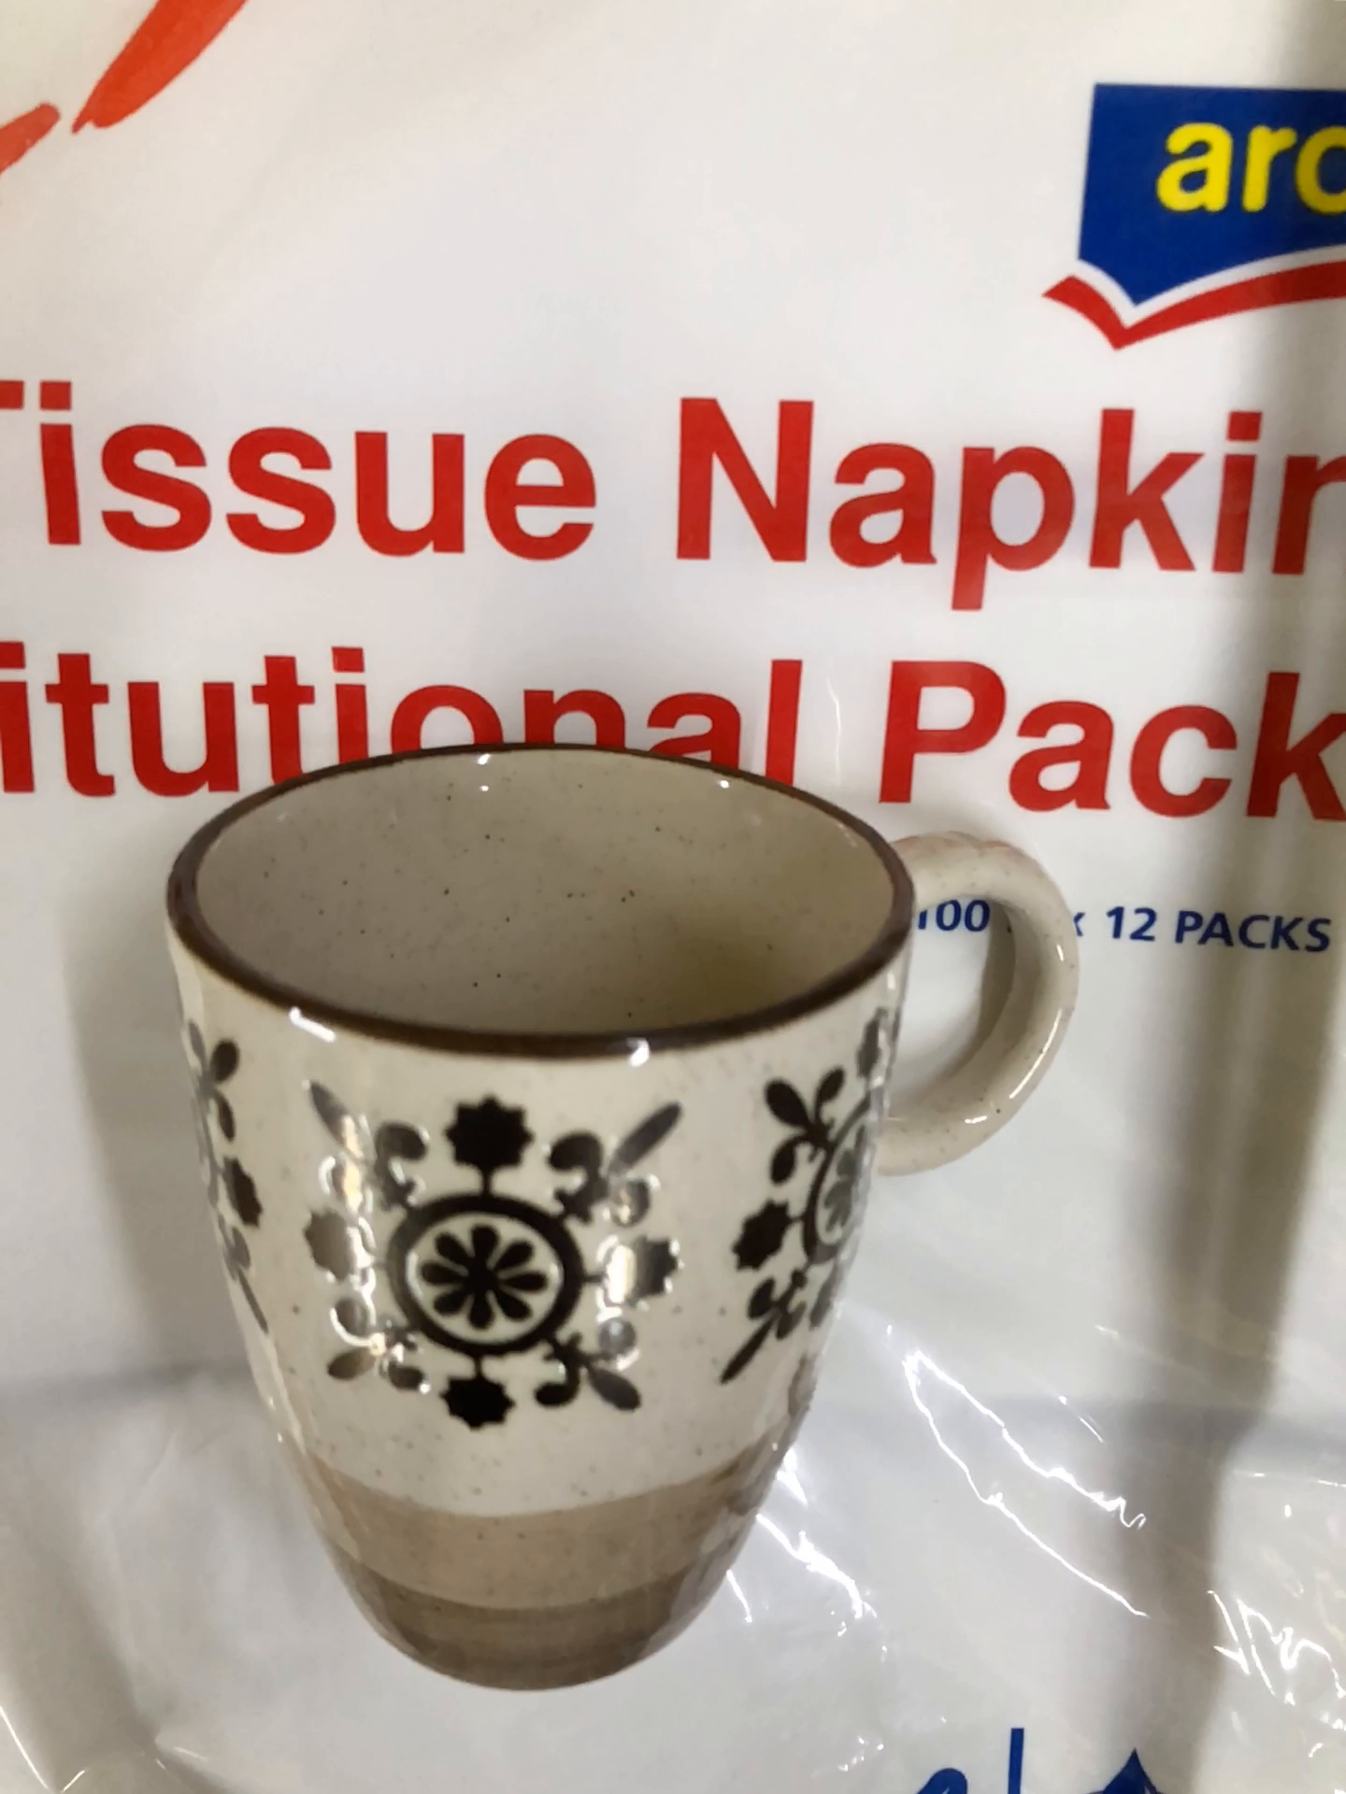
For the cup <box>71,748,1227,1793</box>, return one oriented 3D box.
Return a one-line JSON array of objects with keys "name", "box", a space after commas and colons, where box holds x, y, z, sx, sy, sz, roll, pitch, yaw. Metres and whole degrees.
[{"name": "cup", "box": [-0.008, 0.049, 0.178, 0.100, 0.070, 0.110, -8, 116, -28]}]
